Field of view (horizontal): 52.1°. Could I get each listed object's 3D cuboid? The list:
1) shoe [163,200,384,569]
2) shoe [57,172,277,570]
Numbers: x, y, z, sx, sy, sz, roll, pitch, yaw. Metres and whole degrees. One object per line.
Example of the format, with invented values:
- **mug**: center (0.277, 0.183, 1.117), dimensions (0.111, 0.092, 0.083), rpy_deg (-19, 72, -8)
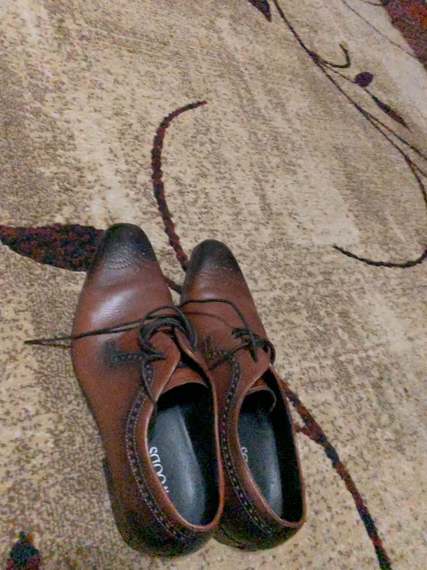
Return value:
- **shoe**: center (0.032, 0.079, 0.401), dimensions (0.100, 0.115, 0.287), rpy_deg (6, 59, -27)
- **shoe**: center (-0.058, 0.064, 0.359), dimensions (0.100, 0.115, 0.287), rpy_deg (2, 61, -29)
